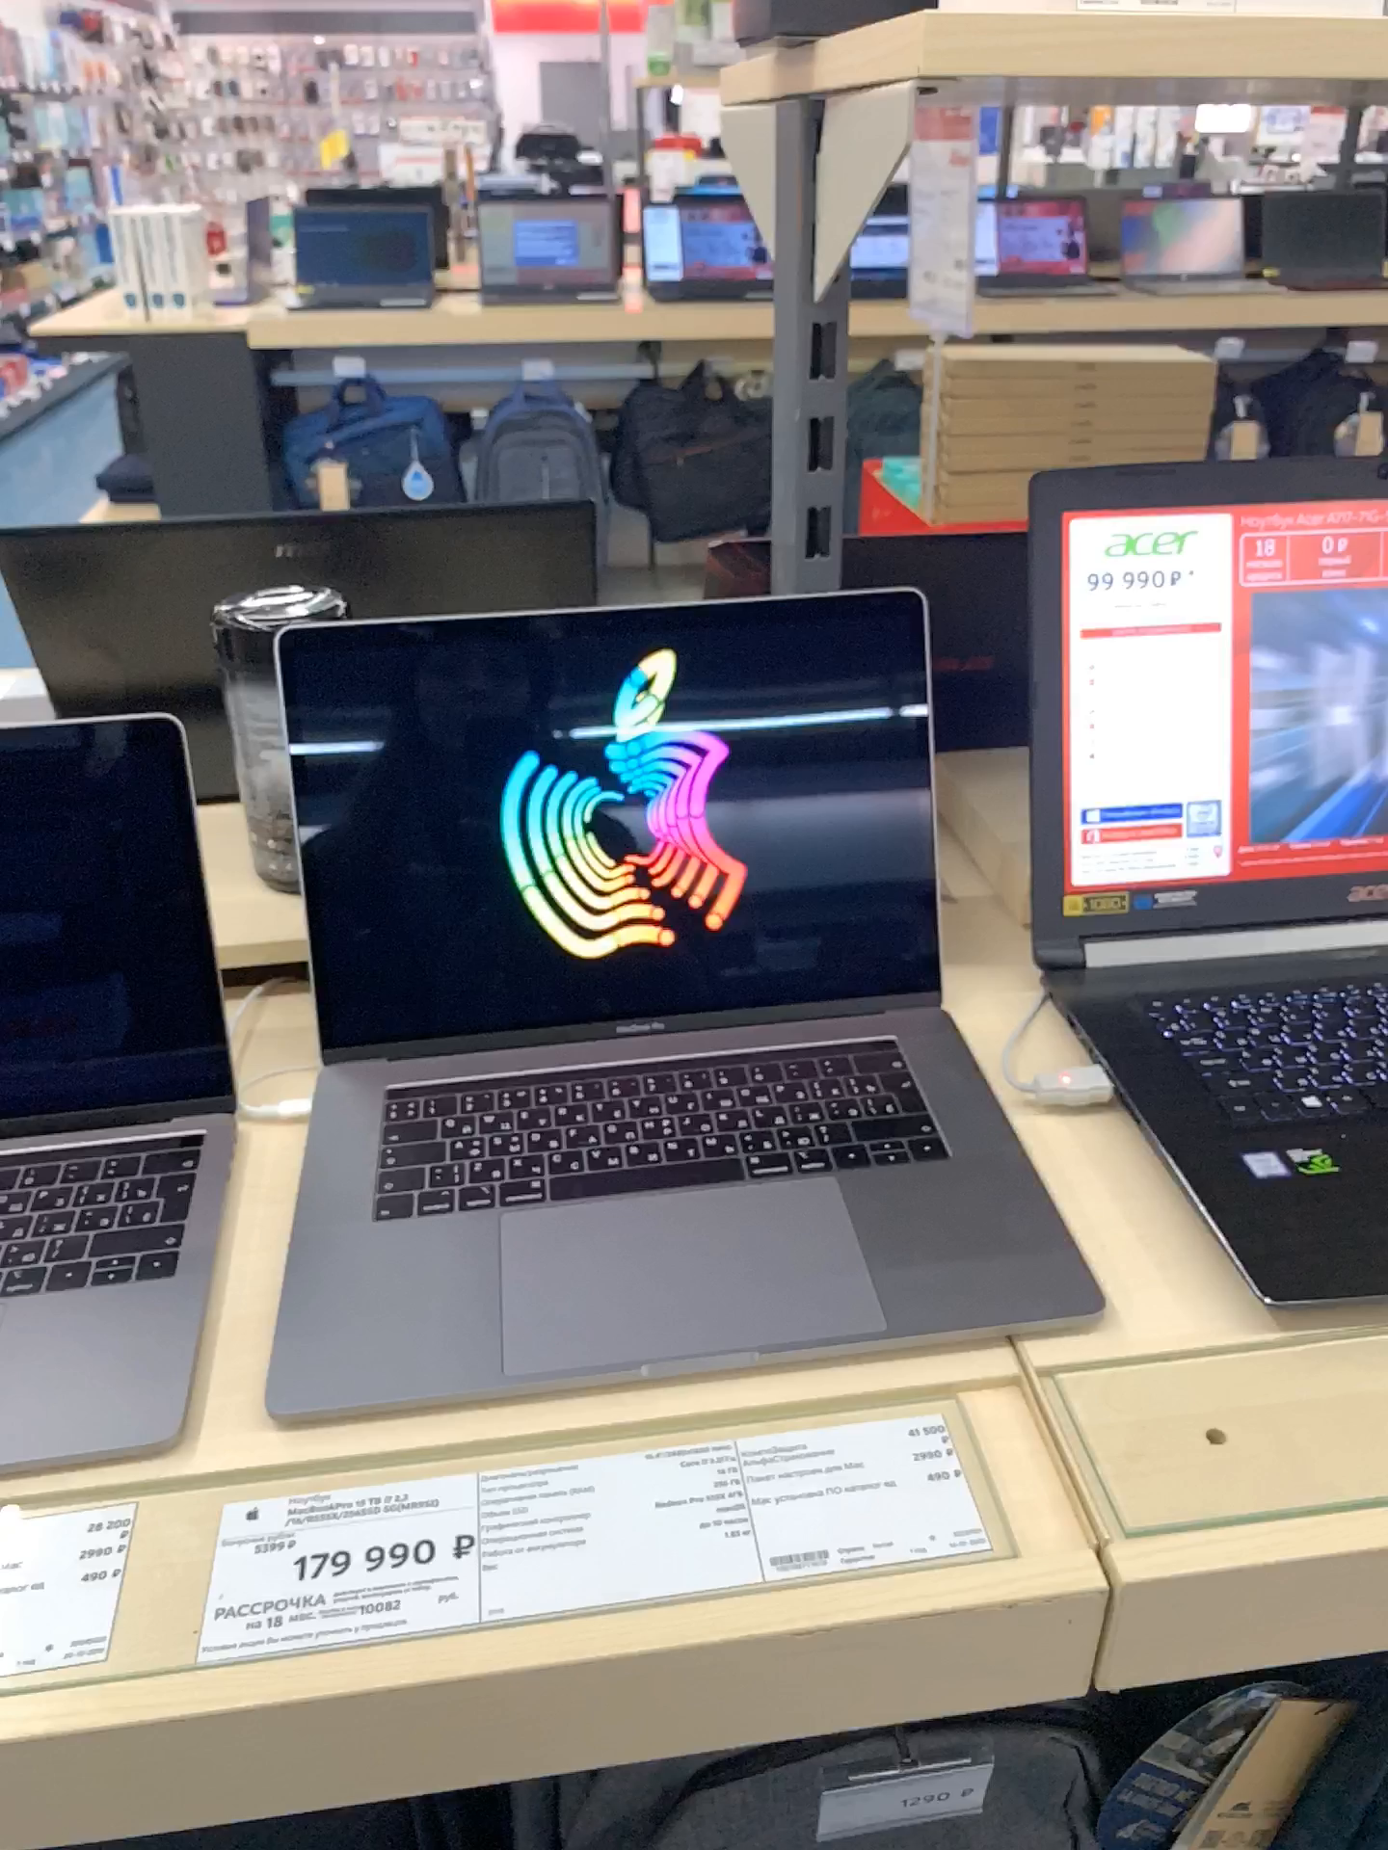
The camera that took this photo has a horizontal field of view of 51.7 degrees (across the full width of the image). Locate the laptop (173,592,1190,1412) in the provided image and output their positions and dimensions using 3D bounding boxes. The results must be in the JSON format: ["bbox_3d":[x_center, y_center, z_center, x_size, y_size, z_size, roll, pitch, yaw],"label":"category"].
[{"bbox_3d":[-0.020,0.004,0.671,0.345,0.210,0.326,-5,30,-7],"label":"laptop"}]
